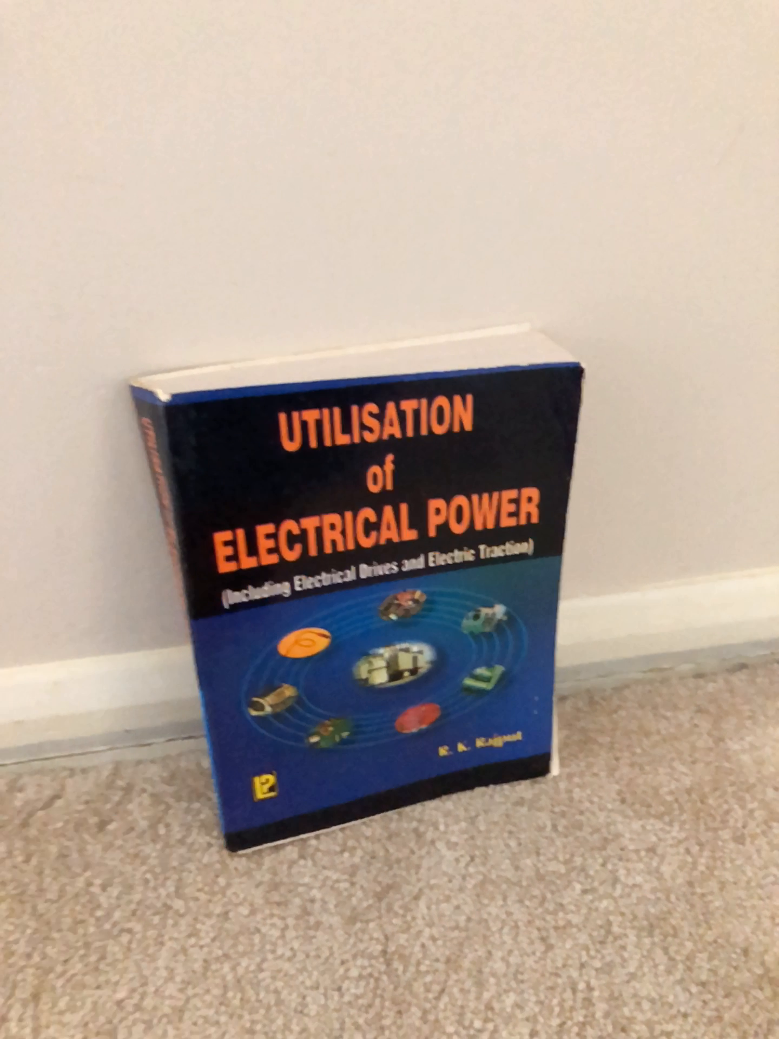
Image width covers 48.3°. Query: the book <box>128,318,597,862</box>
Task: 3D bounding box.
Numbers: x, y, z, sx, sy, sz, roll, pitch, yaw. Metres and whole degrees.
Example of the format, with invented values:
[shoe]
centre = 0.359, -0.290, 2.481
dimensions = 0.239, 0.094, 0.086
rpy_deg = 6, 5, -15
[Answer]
[book]
centre = -0.004, 0.036, 0.412
dimensions = 0.190, 0.229, 0.050
rpy_deg = -10, 26, -12
